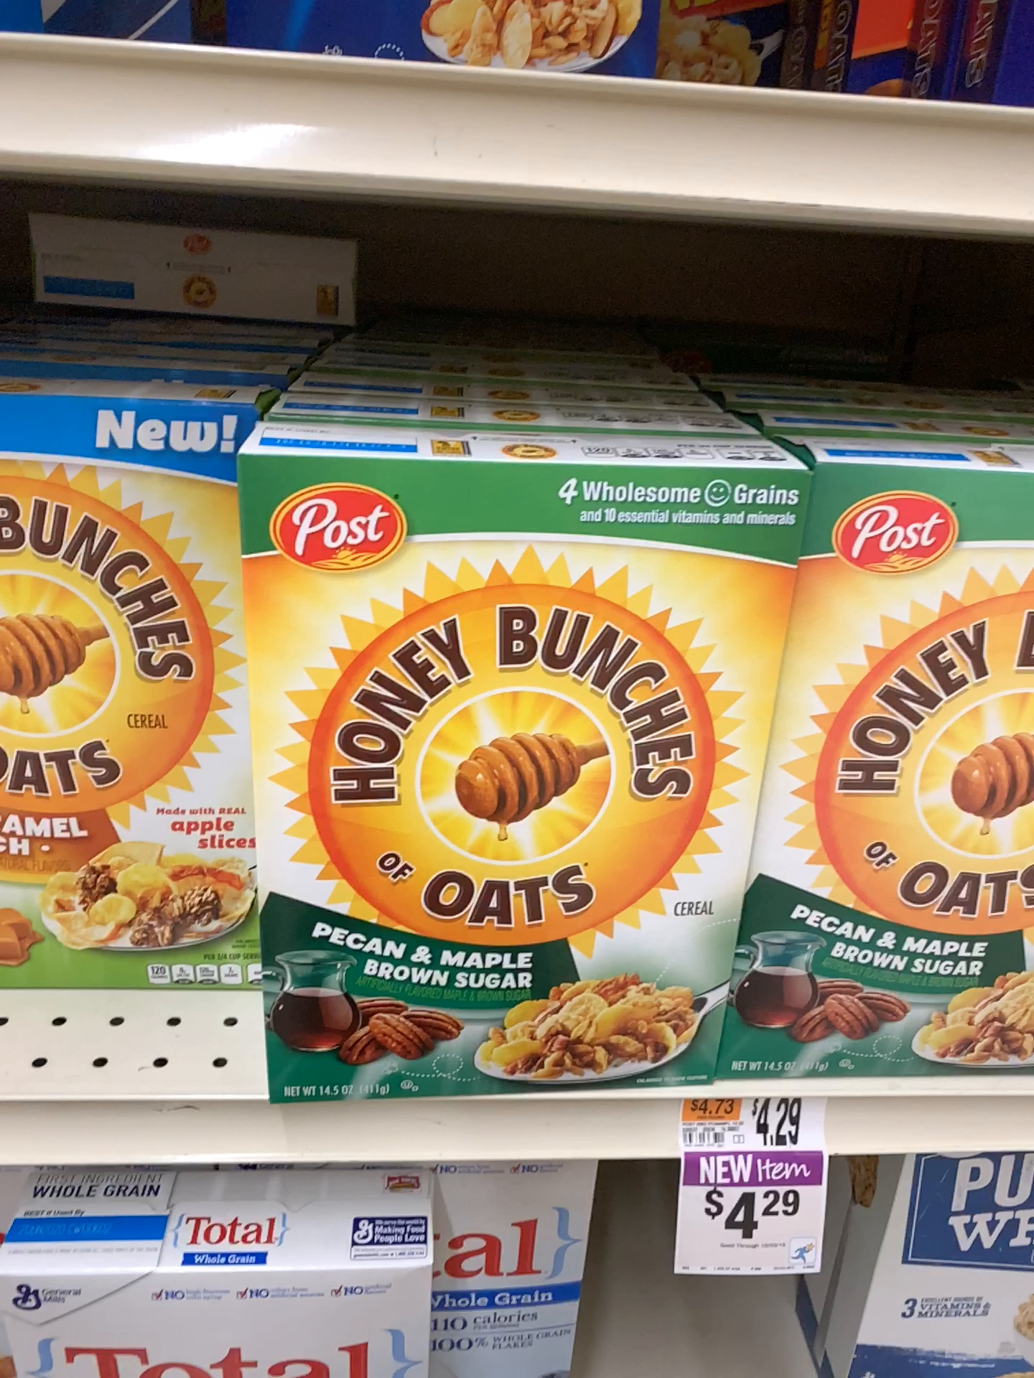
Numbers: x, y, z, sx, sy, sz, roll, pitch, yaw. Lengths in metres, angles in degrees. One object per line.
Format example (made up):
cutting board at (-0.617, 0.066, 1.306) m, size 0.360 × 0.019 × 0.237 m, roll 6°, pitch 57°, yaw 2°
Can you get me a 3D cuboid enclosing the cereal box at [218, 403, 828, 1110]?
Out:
cereal box at (-0.006, 0.036, 0.428) m, size 0.200 × 0.279 × 0.060 m, roll 0°, pitch 24°, yaw -8°
